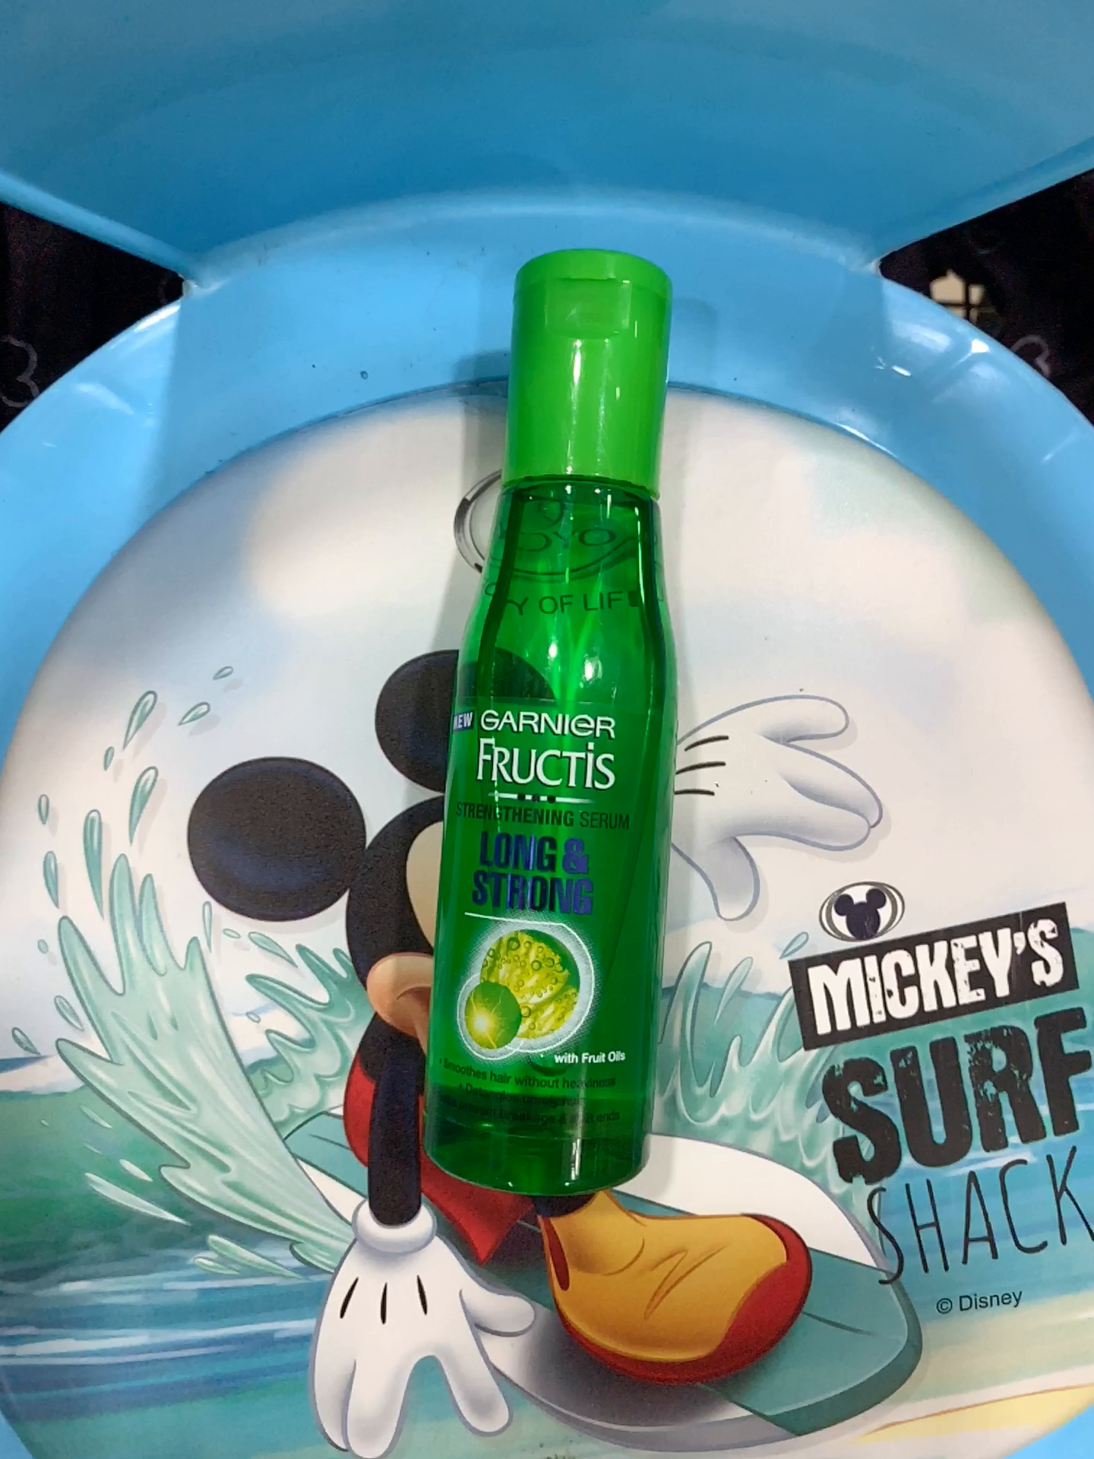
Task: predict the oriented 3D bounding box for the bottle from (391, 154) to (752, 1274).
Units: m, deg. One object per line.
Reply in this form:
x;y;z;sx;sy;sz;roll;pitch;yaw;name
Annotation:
0.007;-0.004;0.188;0.040;0.040;0.160;2;86;20;bottle
